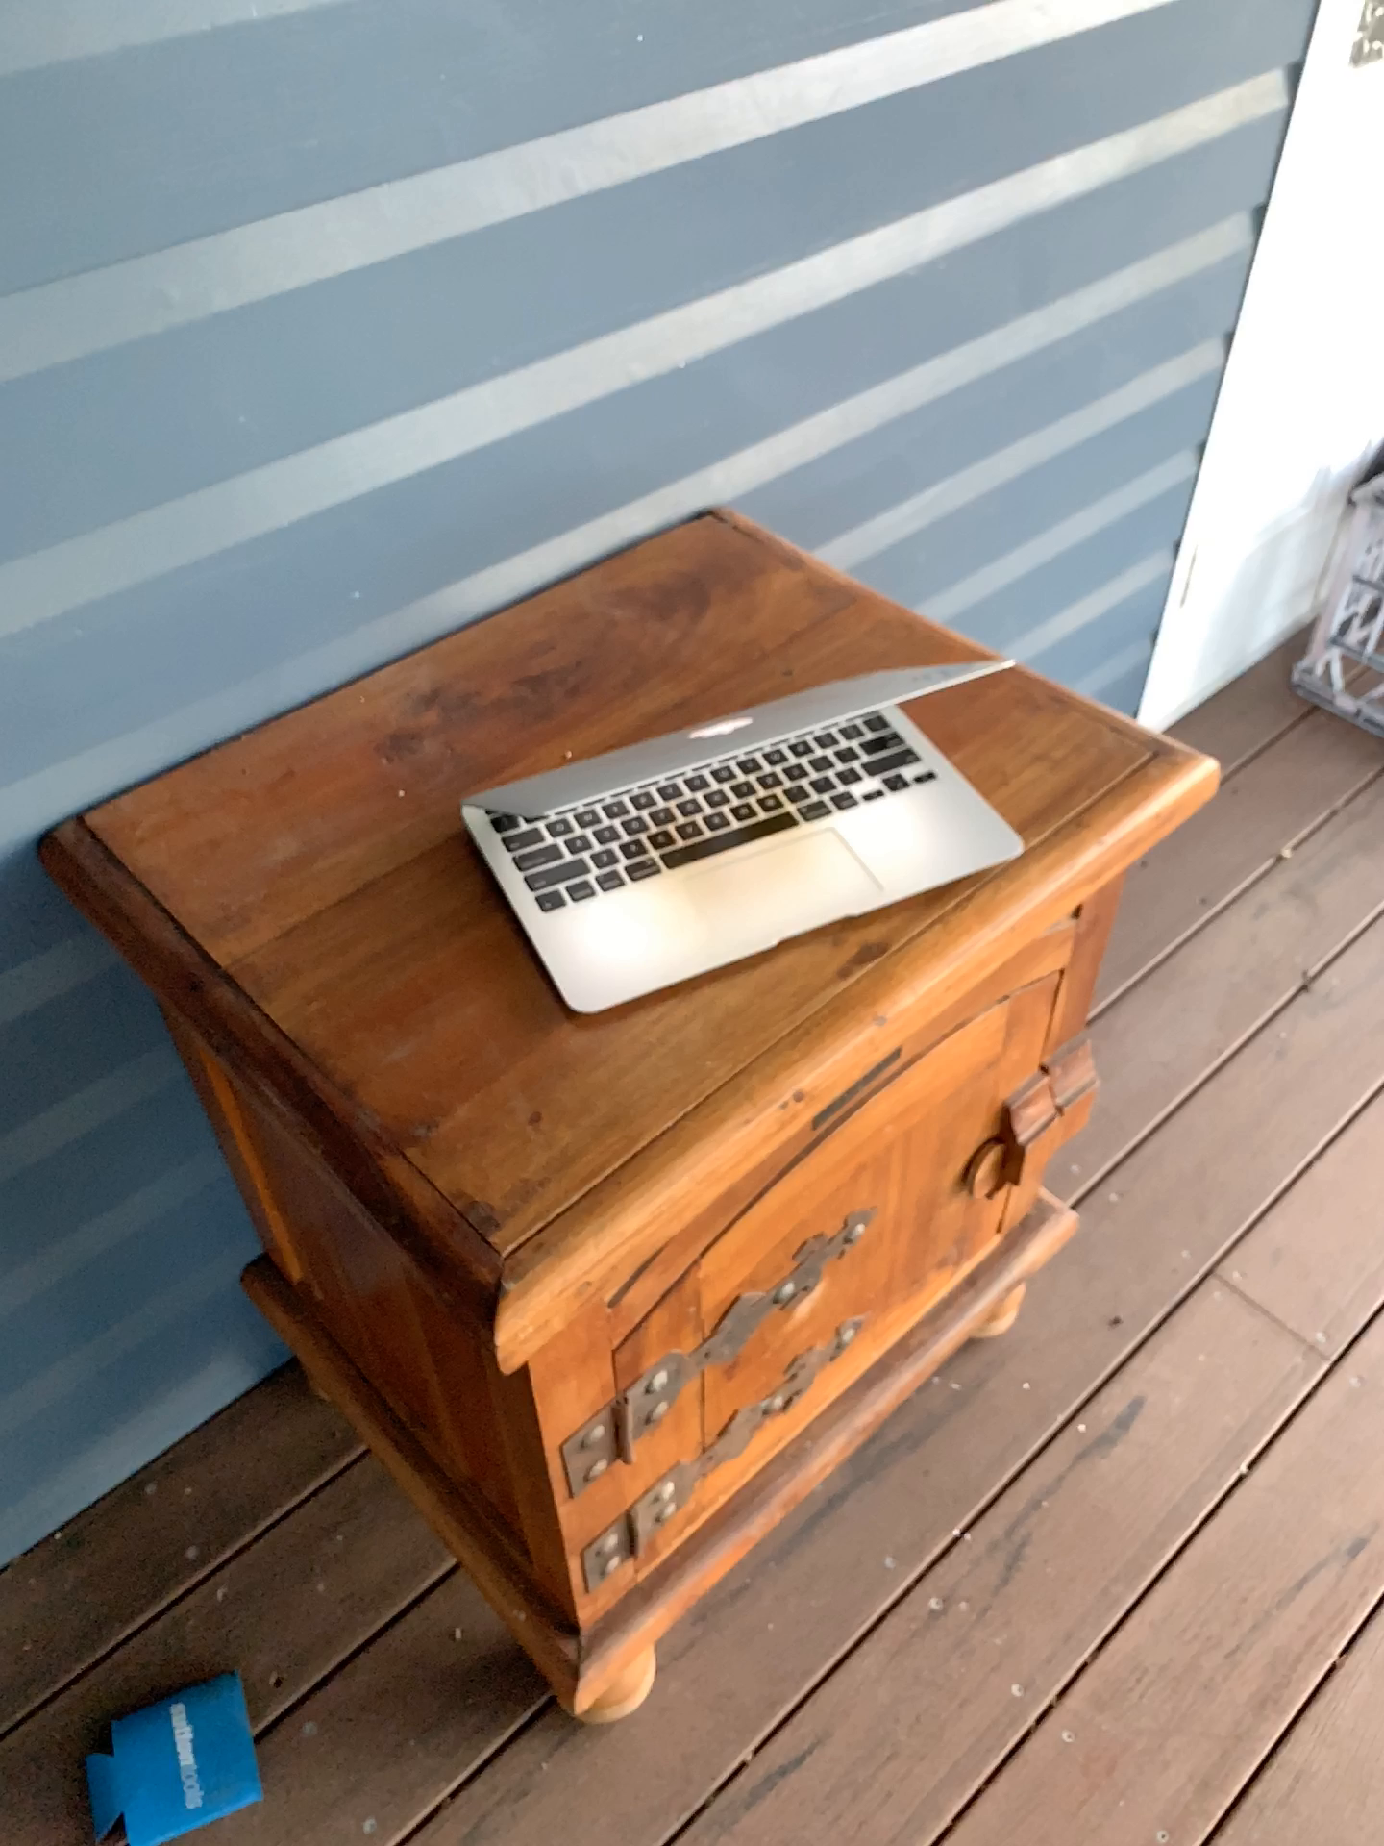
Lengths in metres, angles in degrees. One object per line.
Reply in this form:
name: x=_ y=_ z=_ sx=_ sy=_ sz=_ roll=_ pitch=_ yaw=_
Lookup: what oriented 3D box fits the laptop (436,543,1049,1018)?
laptop: x=0.025 y=-0.091 z=0.807 sx=0.282 sy=0.099 sz=0.180 roll=-20 pitch=50 yaw=-17
